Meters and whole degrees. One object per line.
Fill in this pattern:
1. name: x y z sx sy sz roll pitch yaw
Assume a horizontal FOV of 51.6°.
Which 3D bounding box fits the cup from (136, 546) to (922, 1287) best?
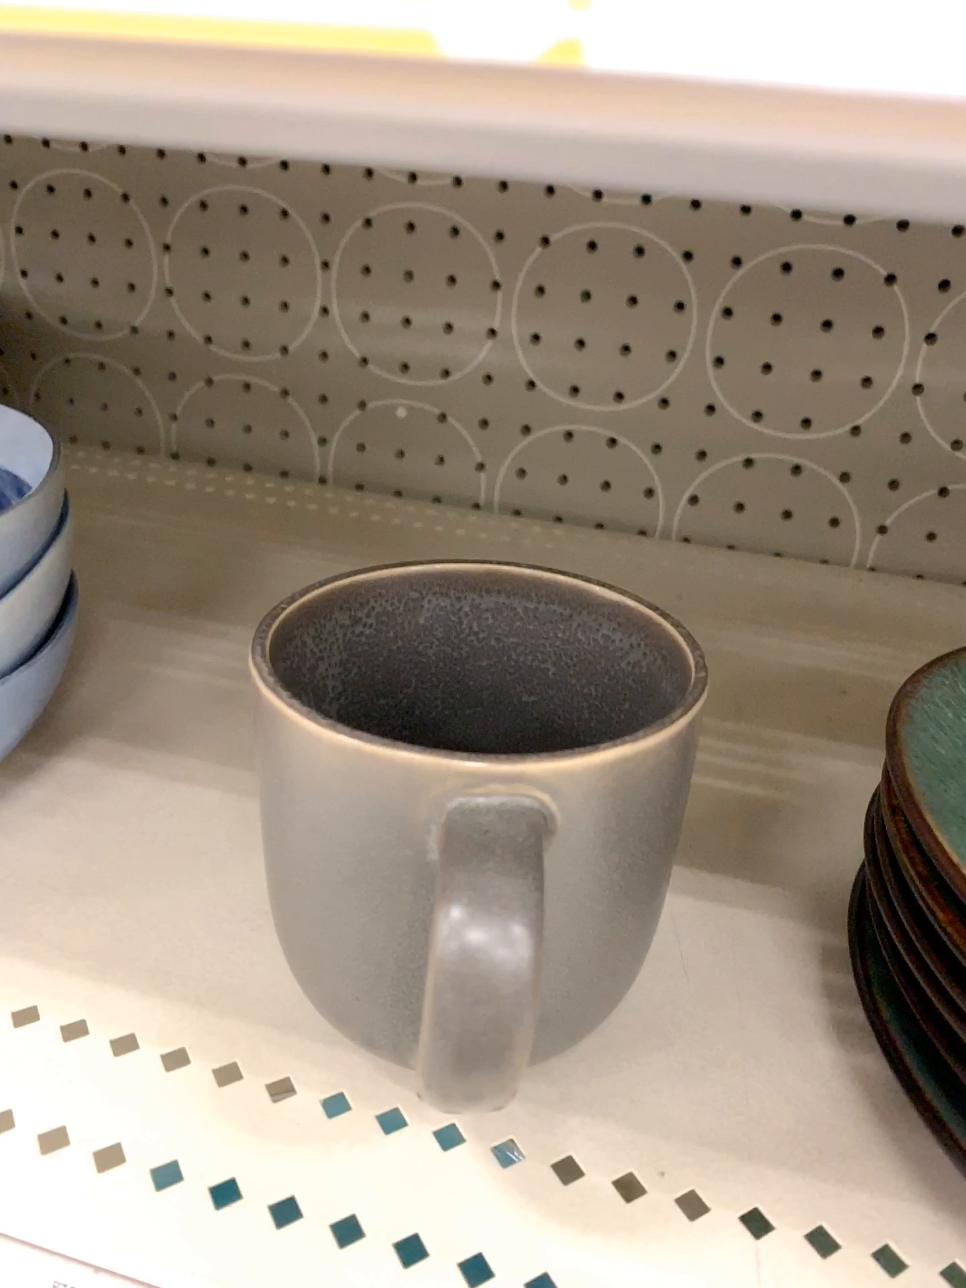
1. cup: -0.002 0.043 0.201 0.100 0.080 0.131 1 27 -8
